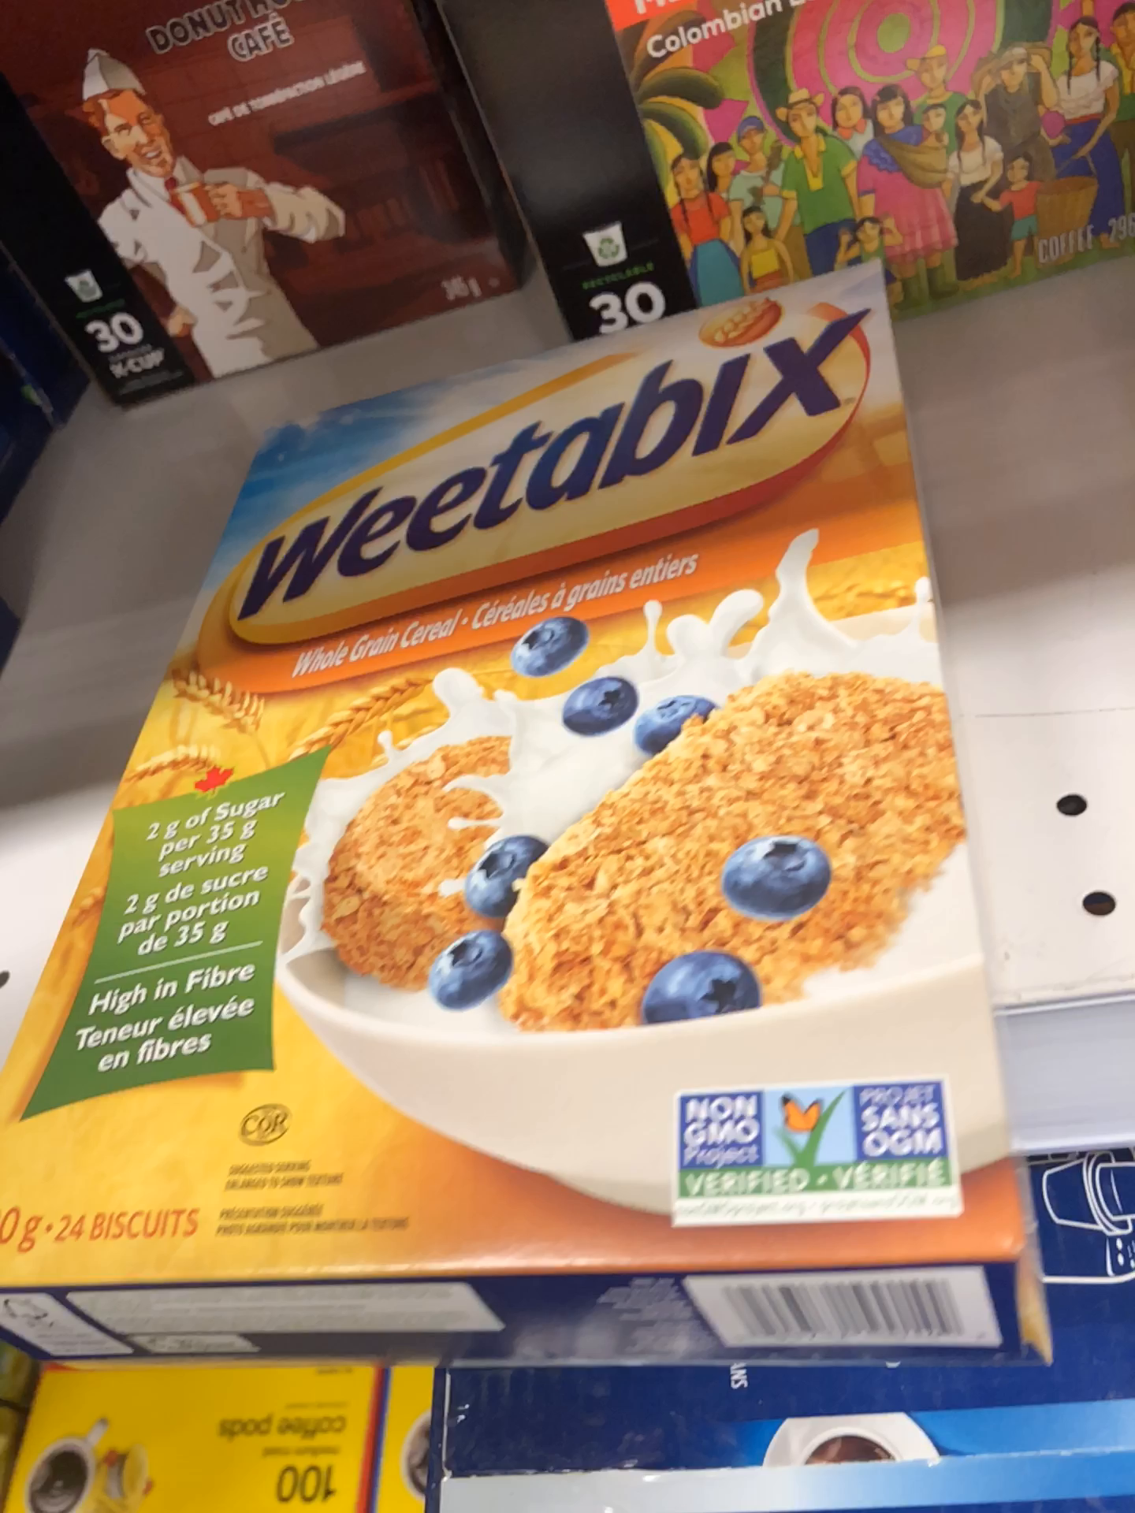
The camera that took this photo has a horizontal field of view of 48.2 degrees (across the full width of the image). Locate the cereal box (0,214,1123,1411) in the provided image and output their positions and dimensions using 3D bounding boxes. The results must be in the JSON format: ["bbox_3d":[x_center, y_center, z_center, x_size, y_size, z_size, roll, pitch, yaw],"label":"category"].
[{"bbox_3d":[-0.011,-0.010,0.301,0.210,0.050,0.290,-9,45,18],"label":"cereal box"}]
